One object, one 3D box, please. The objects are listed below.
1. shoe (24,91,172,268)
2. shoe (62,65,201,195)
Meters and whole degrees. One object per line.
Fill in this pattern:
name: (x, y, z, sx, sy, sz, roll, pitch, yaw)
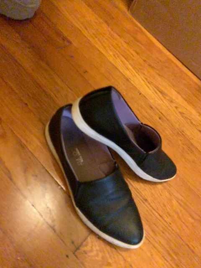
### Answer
shoe: (-0.017, 0.068, 0.333, 0.100, 0.080, 0.260, -25, 76, -31)
shoe: (0.071, 0.014, 0.353, 0.250, 0.080, 0.100, 32, 54, -30)
